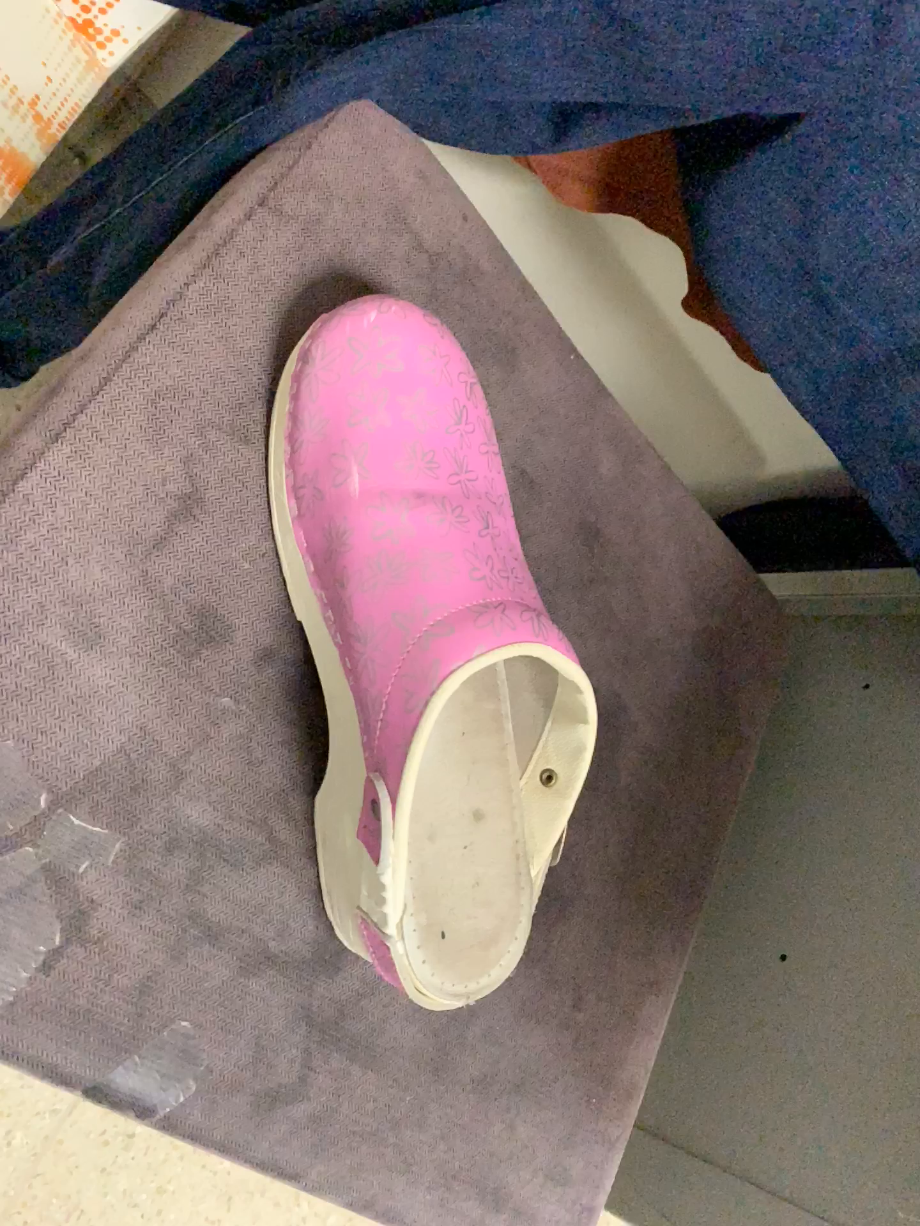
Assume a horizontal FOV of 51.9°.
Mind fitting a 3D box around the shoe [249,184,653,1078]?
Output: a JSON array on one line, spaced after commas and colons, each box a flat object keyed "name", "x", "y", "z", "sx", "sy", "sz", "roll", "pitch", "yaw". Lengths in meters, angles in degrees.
[{"name": "shoe", "x": -0.003, "y": 0.005, "z": 0.306, "sx": 0.101, "sy": 0.079, "sz": 0.230, "roll": 1, "pitch": 87, "yaw": -40}]
